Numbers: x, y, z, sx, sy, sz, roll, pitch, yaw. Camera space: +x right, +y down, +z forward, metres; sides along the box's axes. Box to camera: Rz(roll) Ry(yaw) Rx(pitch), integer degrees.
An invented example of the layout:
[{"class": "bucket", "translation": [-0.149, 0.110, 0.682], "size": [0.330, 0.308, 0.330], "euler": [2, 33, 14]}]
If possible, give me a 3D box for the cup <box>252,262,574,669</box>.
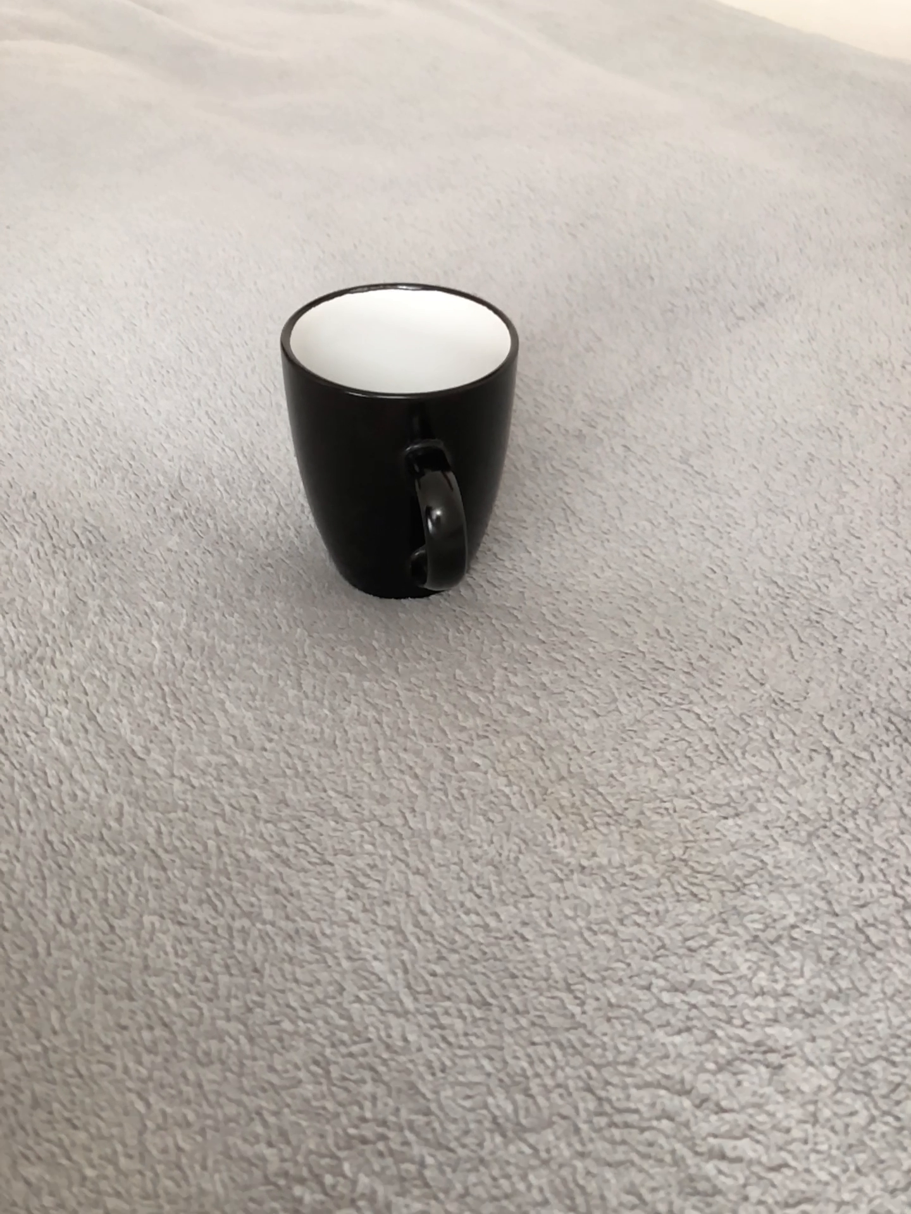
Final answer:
[{"class": "cup", "translation": [-0.024, -0.058, 0.375], "size": [0.090, 0.089, 0.129], "euler": [-5, 43, -12]}]
